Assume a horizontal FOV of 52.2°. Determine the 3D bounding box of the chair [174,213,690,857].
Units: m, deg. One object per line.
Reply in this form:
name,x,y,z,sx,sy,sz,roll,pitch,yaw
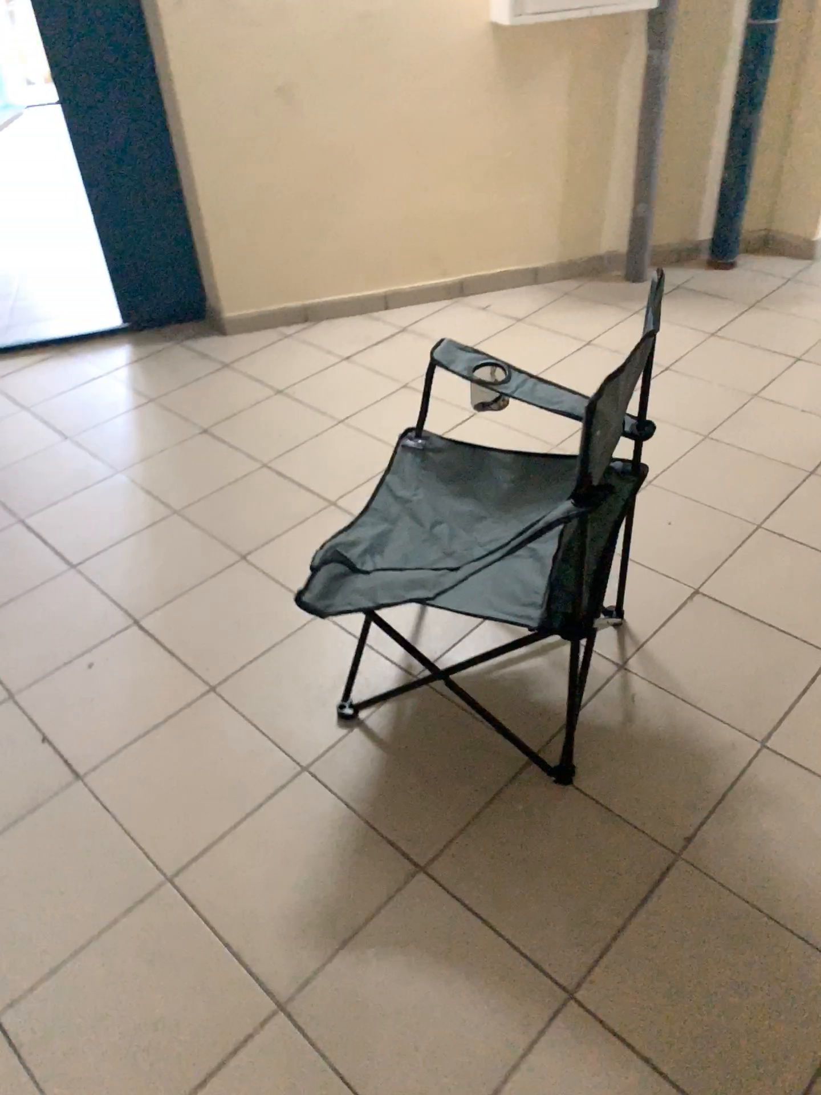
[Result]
chair,0.119,-0.080,1.518,0.561,0.756,0.803,10,40,18
